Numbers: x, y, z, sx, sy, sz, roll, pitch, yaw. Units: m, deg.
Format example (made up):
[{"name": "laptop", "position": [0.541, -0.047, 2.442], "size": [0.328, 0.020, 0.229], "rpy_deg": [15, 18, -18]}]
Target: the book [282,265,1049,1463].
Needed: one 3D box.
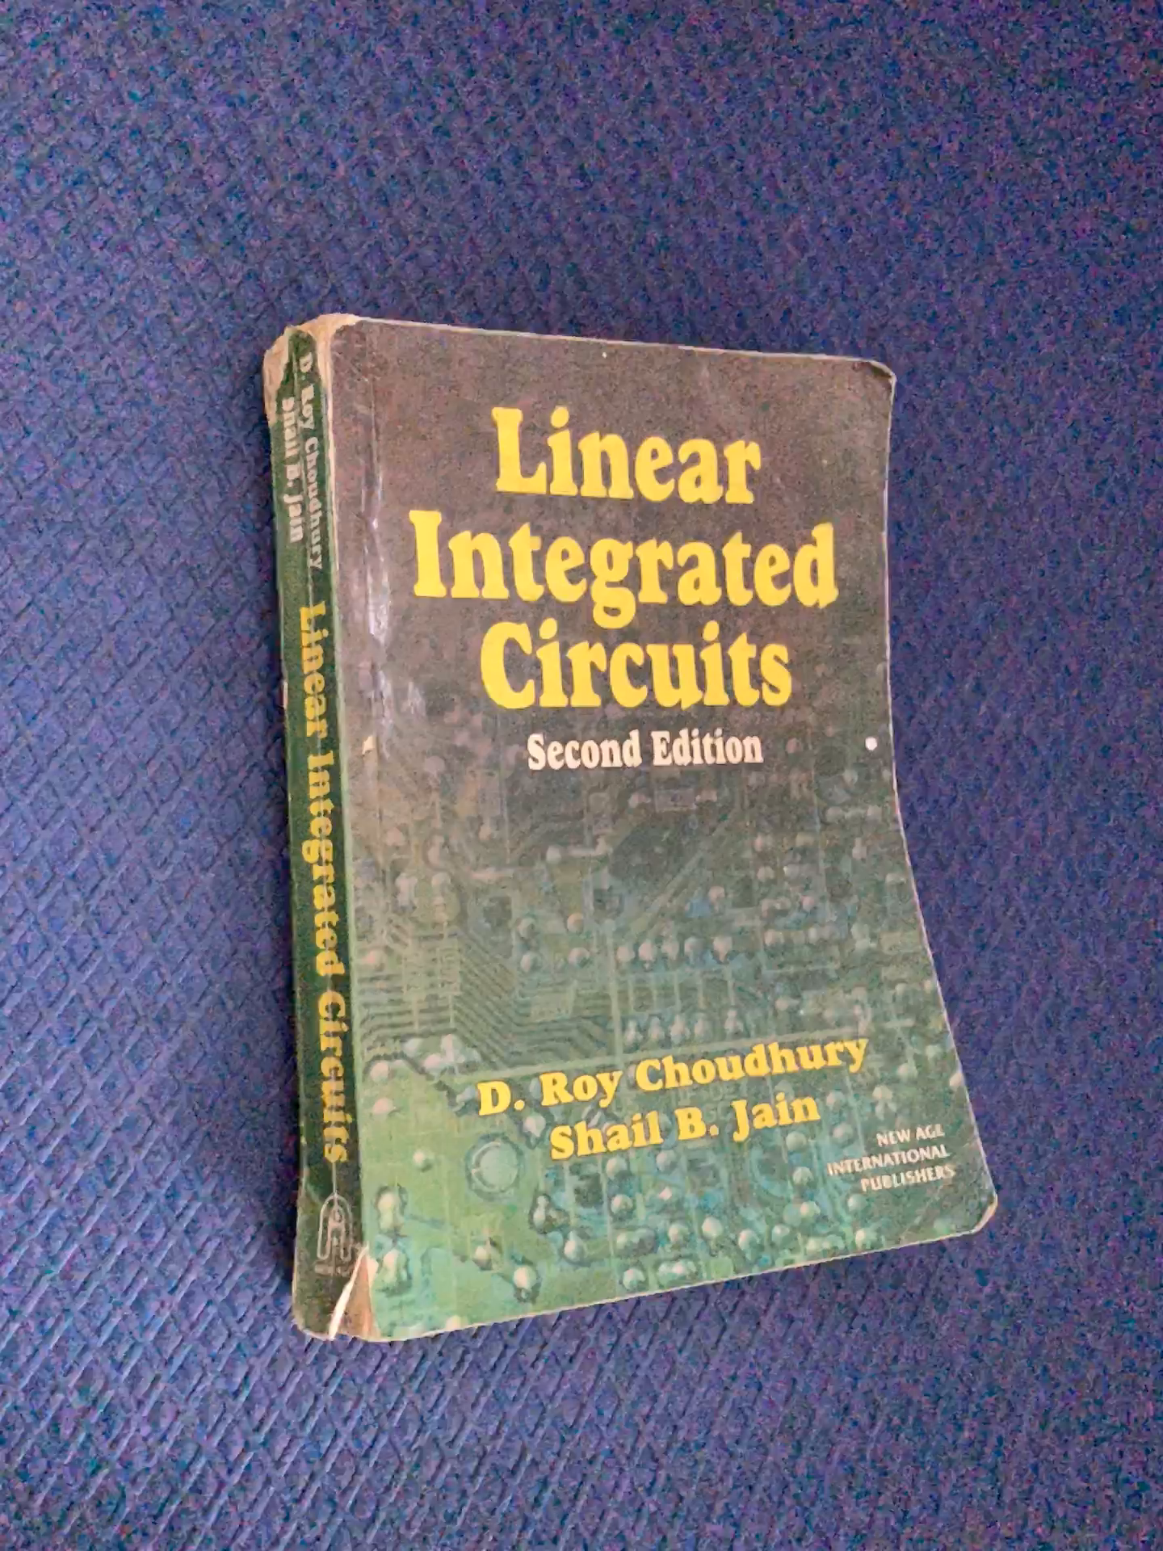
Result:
[{"name": "book", "position": [0.024, 0.013, 0.326], "size": [0.191, 0.040, 0.270], "rpy_deg": [-2, 84, -22]}]
